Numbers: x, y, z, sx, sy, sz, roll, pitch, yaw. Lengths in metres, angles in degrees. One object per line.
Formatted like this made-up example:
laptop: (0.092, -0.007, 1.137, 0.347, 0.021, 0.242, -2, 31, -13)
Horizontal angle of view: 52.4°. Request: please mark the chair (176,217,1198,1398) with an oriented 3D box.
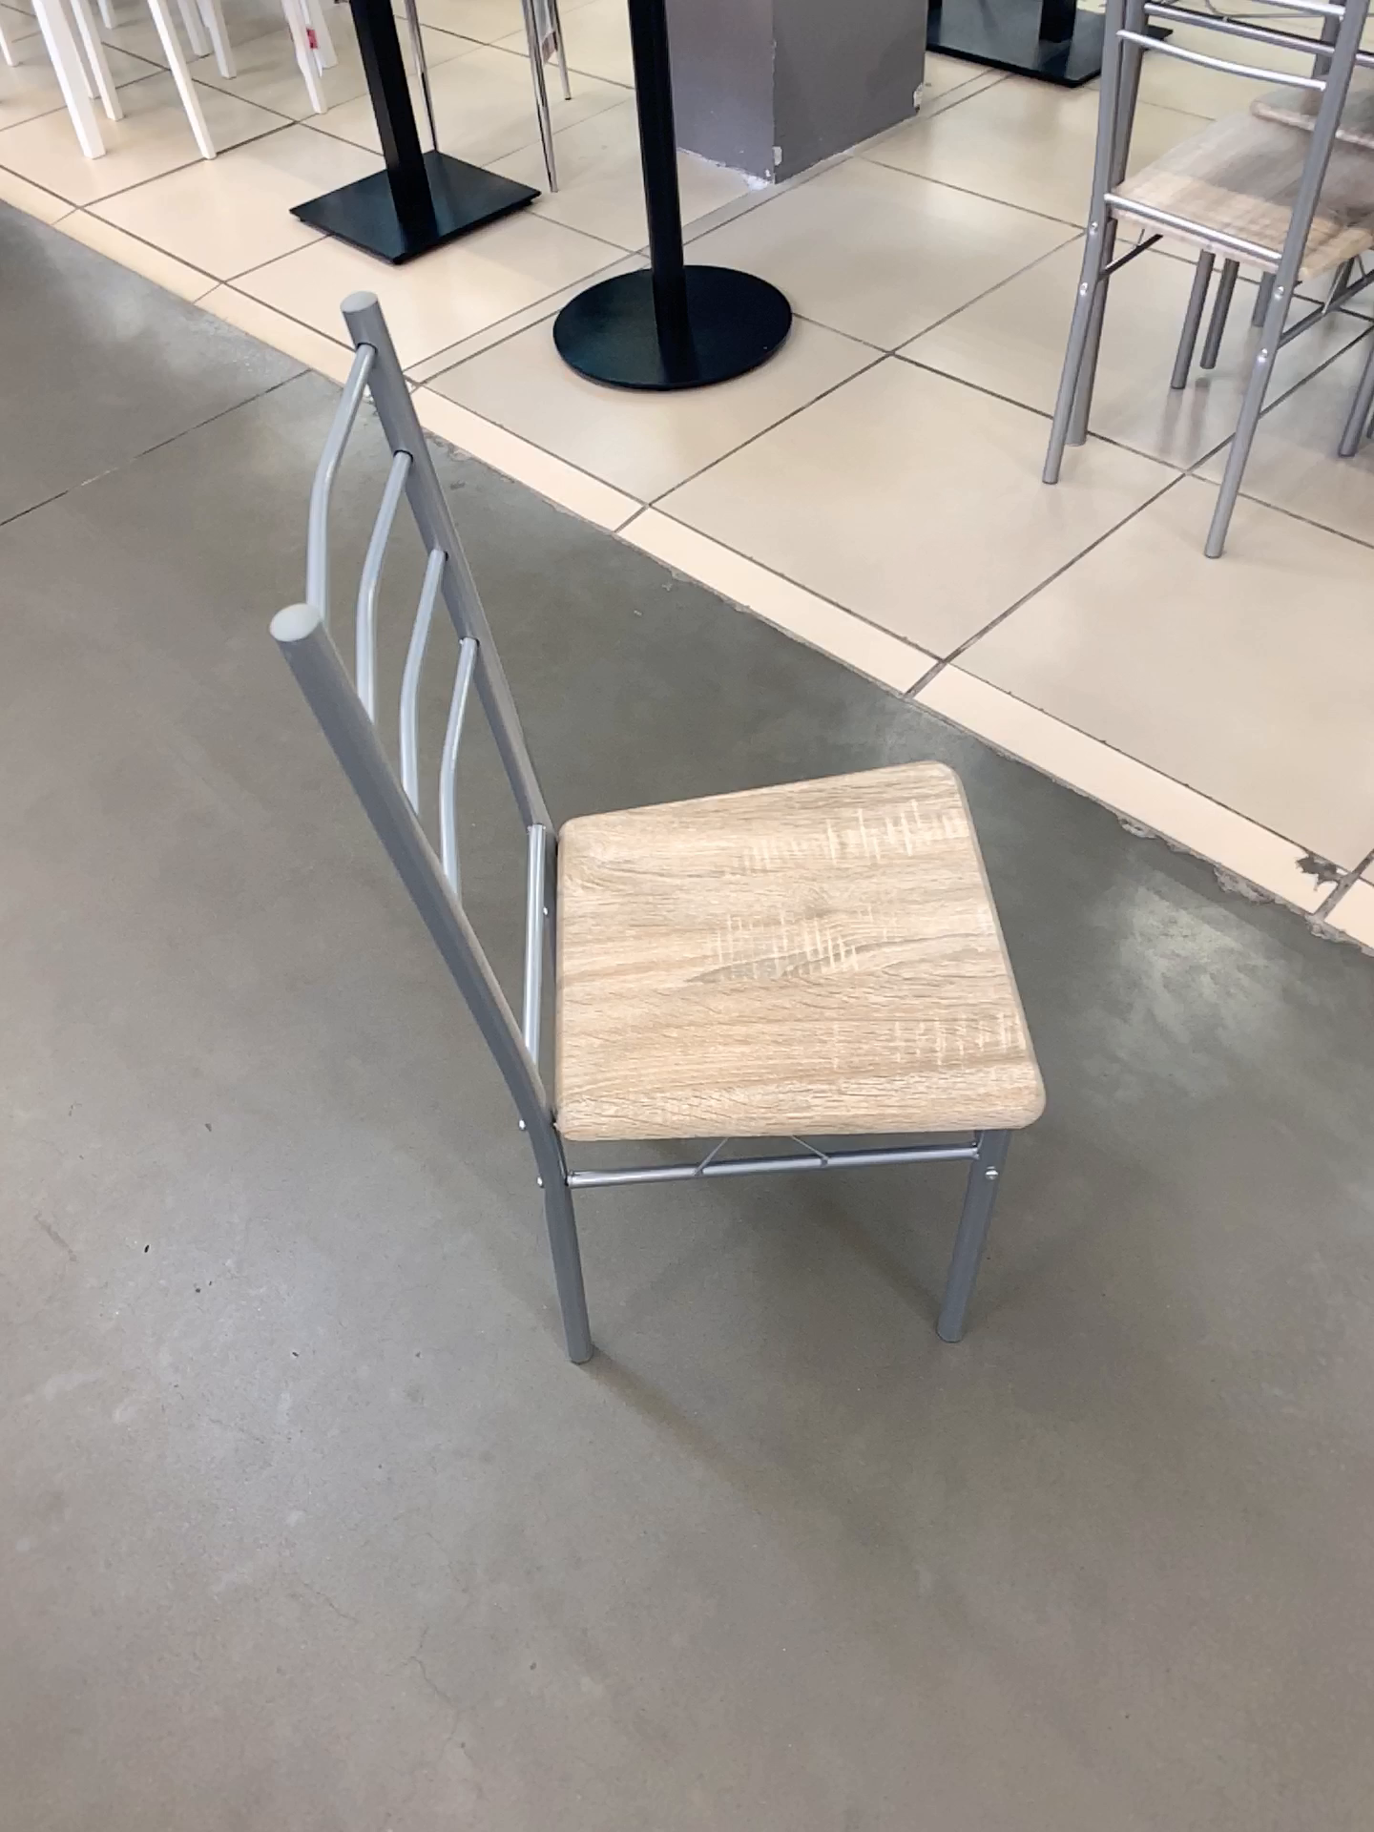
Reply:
chair: (0.017, -0.007, 1.090, 0.470, 0.837, 0.412, -4, 49, 1)
